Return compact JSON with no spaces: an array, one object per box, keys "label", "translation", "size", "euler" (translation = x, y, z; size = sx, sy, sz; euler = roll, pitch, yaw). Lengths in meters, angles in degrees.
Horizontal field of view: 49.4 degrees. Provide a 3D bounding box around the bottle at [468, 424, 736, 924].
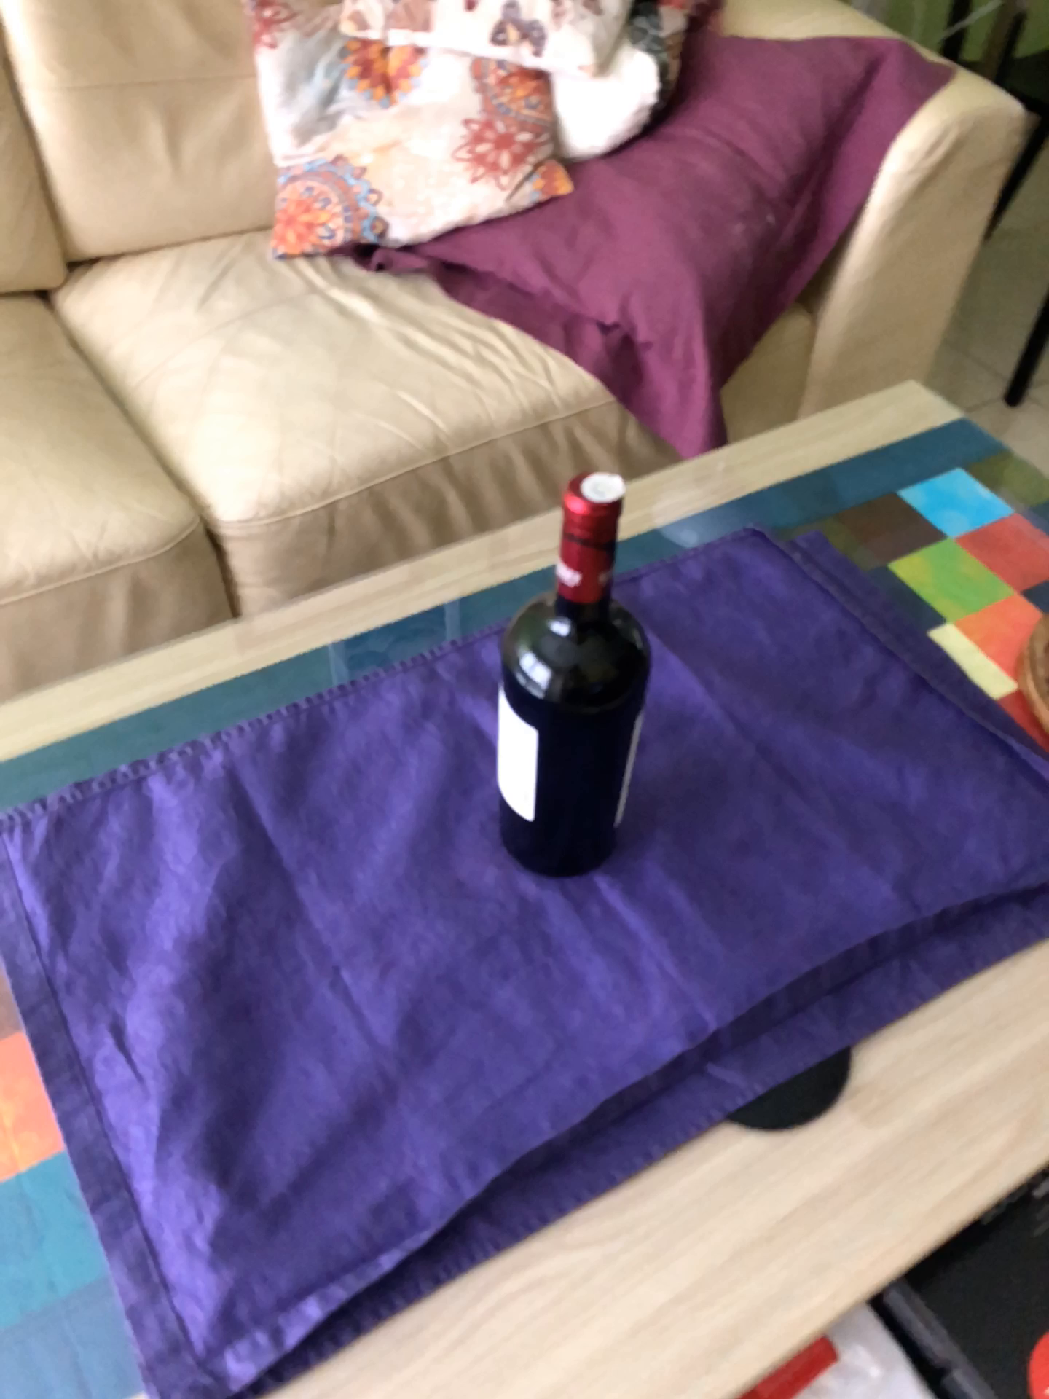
[{"label":"bottle","translation":[0.027,0.000,0.602],"size":[0.090,0.269,0.090],"euler":[2,48,-2]}]
